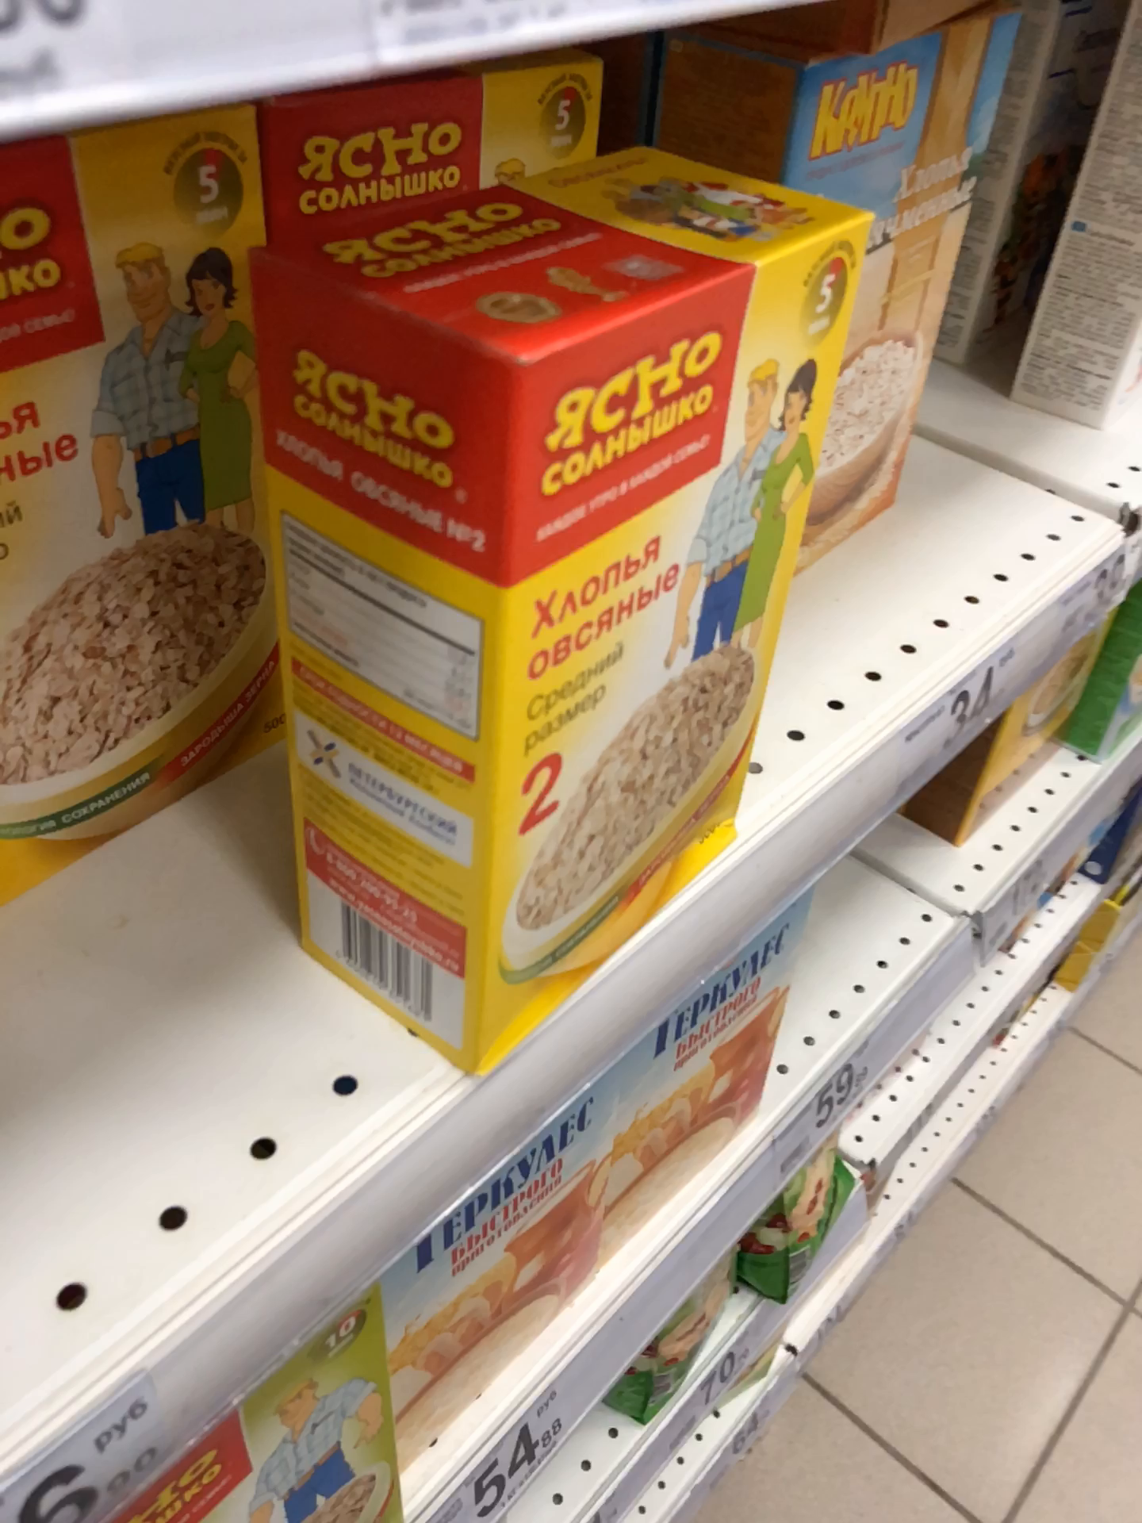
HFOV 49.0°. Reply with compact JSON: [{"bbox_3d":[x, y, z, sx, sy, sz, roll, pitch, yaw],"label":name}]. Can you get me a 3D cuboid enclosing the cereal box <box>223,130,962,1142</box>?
[{"bbox_3d":[0.004,-0.027,0.294,0.070,0.189,0.131,32,47,27],"label":"cereal box"}]
